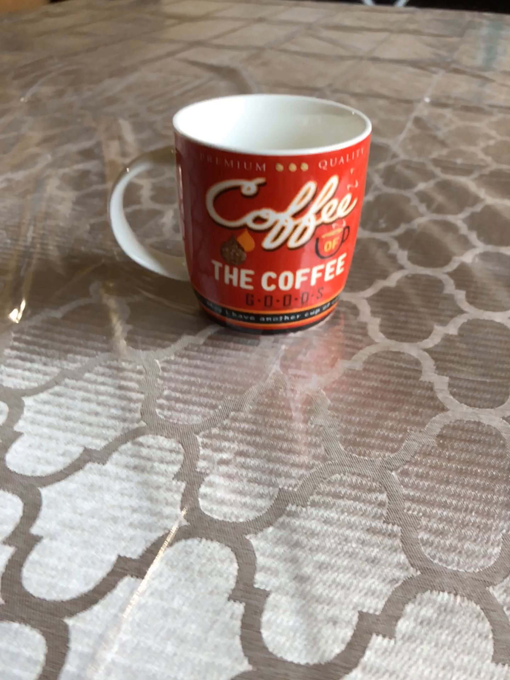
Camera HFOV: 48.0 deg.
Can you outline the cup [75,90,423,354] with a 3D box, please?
[{"bbox_3d":[-0.009,-0.066,0.284,0.130,0.080,0.121,1,36,0],"label":"cup"}]
